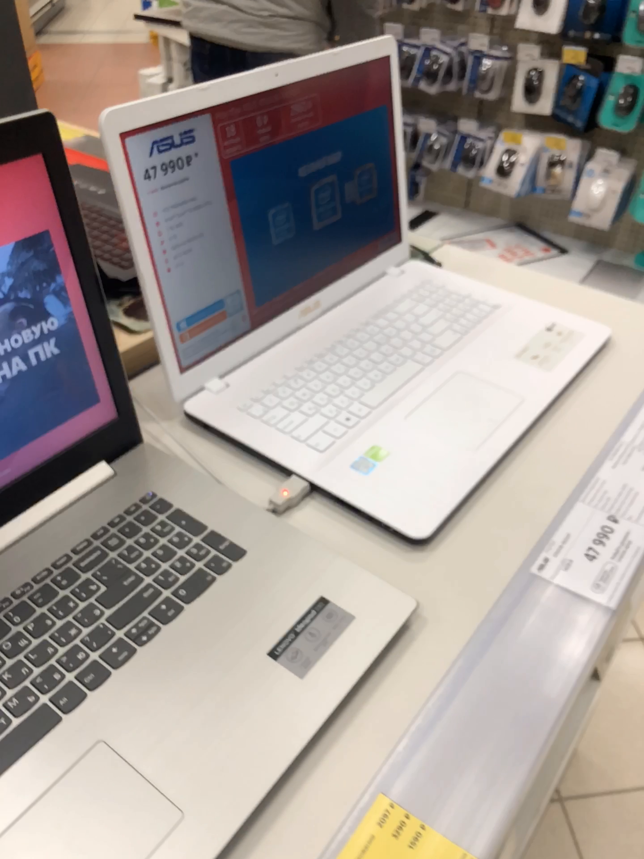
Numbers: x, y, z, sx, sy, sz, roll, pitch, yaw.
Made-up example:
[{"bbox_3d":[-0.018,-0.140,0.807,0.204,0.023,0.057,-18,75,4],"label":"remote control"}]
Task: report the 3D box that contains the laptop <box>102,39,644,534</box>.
[{"bbox_3d":[0.078,-0.170,0.652,0.301,0.235,0.387,27,45,26],"label":"laptop"}]
